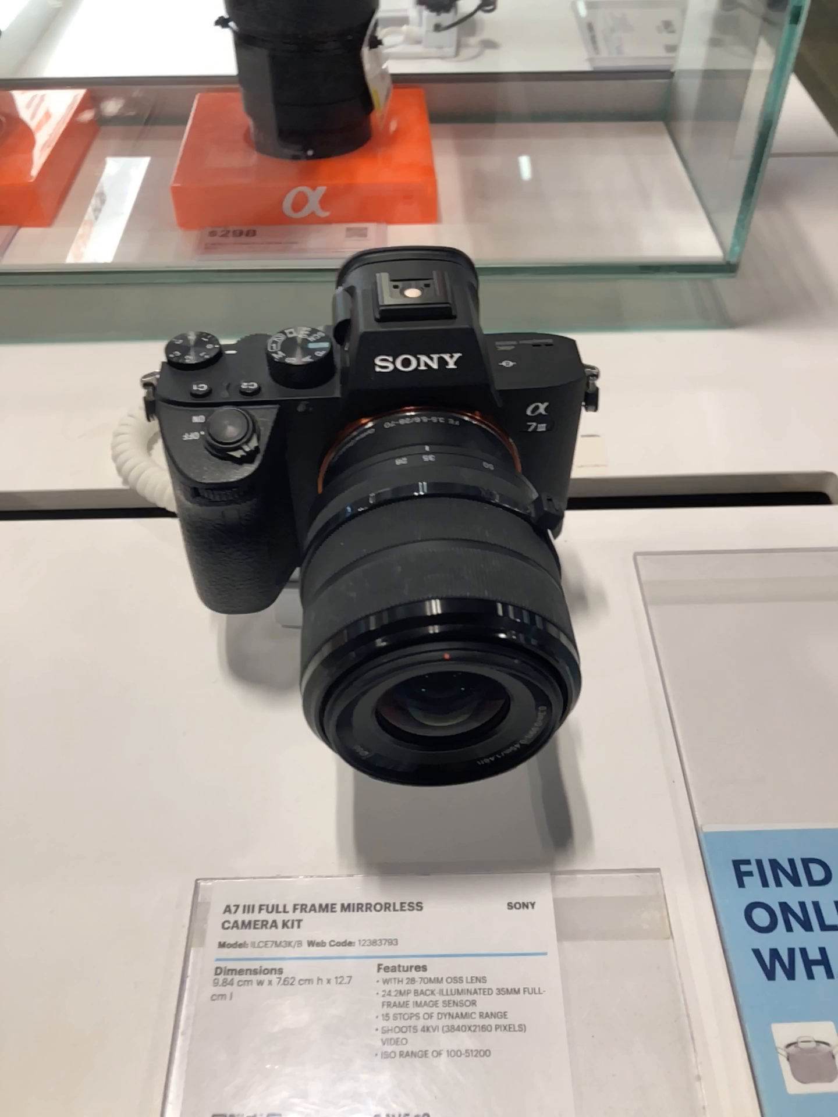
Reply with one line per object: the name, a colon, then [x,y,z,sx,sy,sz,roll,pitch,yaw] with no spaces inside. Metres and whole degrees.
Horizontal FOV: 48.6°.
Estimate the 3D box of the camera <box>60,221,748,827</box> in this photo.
camera: [-0.007,-0.019,0.272,0.140,0.080,0.161,-3,48,-2]
